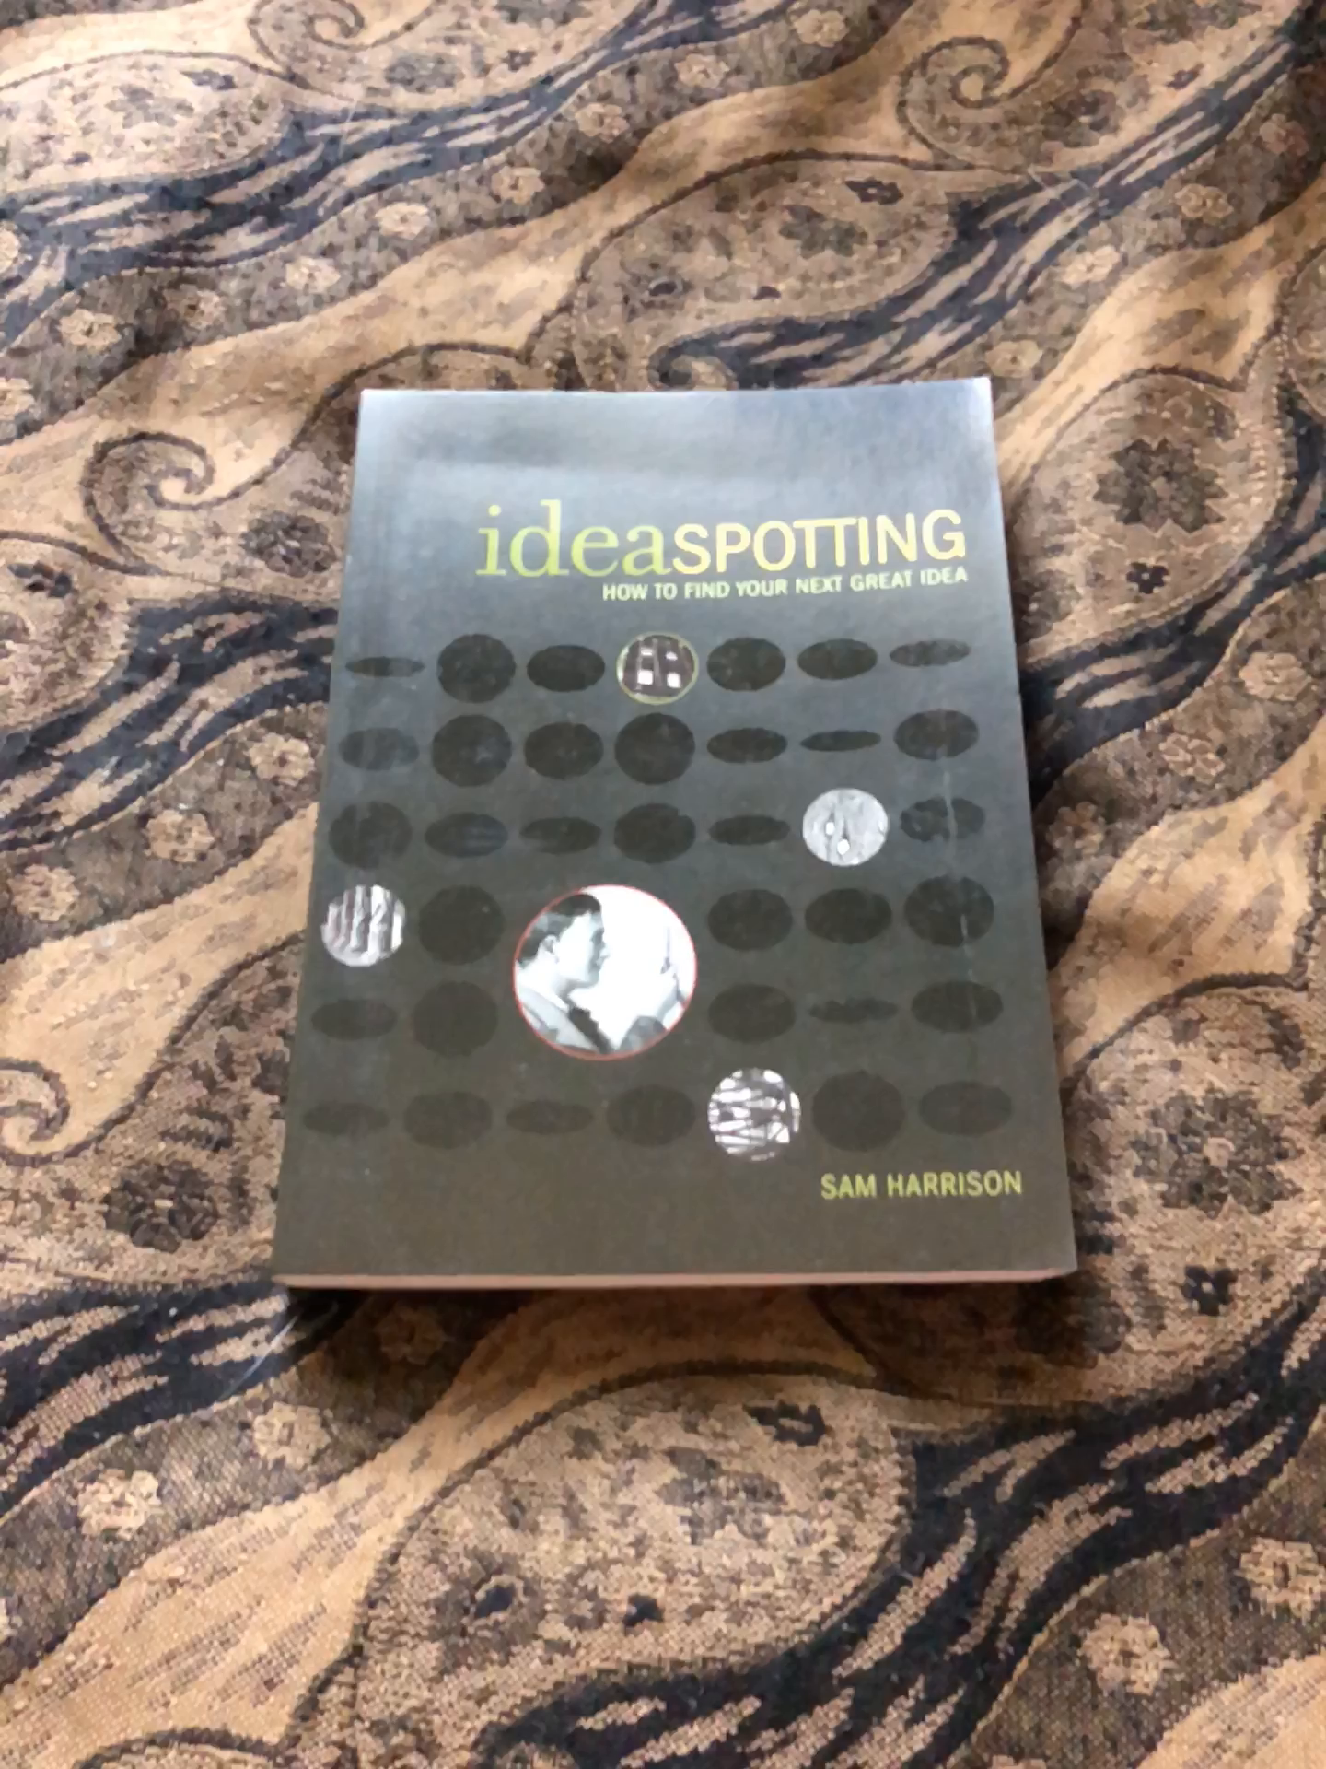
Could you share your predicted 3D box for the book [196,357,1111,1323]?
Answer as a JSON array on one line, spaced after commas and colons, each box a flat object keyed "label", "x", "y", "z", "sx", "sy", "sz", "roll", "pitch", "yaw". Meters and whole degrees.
[{"label": "book", "x": -0.001, "y": -0.013, "z": 0.281, "sx": 0.140, "sy": 0.040, "sz": 0.180, "roll": 0, "pitch": 67, "yaw": 2}]
